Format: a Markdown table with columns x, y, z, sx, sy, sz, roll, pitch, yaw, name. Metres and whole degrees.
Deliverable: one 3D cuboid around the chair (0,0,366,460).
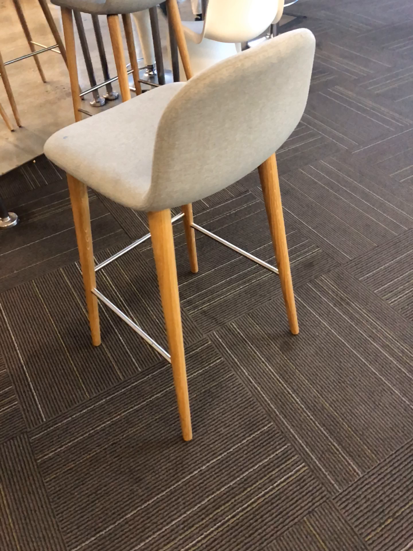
| x | y | z | sx | sy | sz | roll | pitch | yaw | name |
| --- | --- | --- | --- | --- | --- | --- | --- | --- | --- |
| -0.091 | -0.153 | 1.128 | 0.562 | 0.945 | 0.571 | 31 | 53 | 32 | chair |
